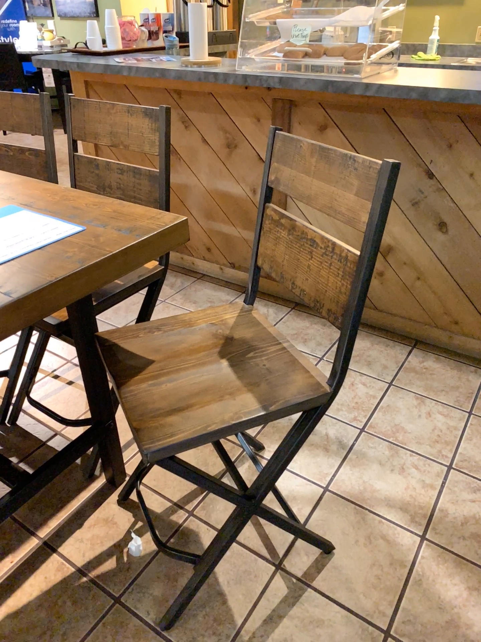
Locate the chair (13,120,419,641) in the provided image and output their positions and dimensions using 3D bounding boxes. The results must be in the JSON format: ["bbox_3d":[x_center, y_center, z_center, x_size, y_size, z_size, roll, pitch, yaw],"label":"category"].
[{"bbox_3d":[-0.044,0.131,1.135,0.616,0.983,0.444,-16,33,-18],"label":"chair"}]

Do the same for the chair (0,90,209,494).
[{"bbox_3d":[-0.511,-0.110,1.538,0.493,1.003,0.617,20,40,28],"label":"chair"}]
